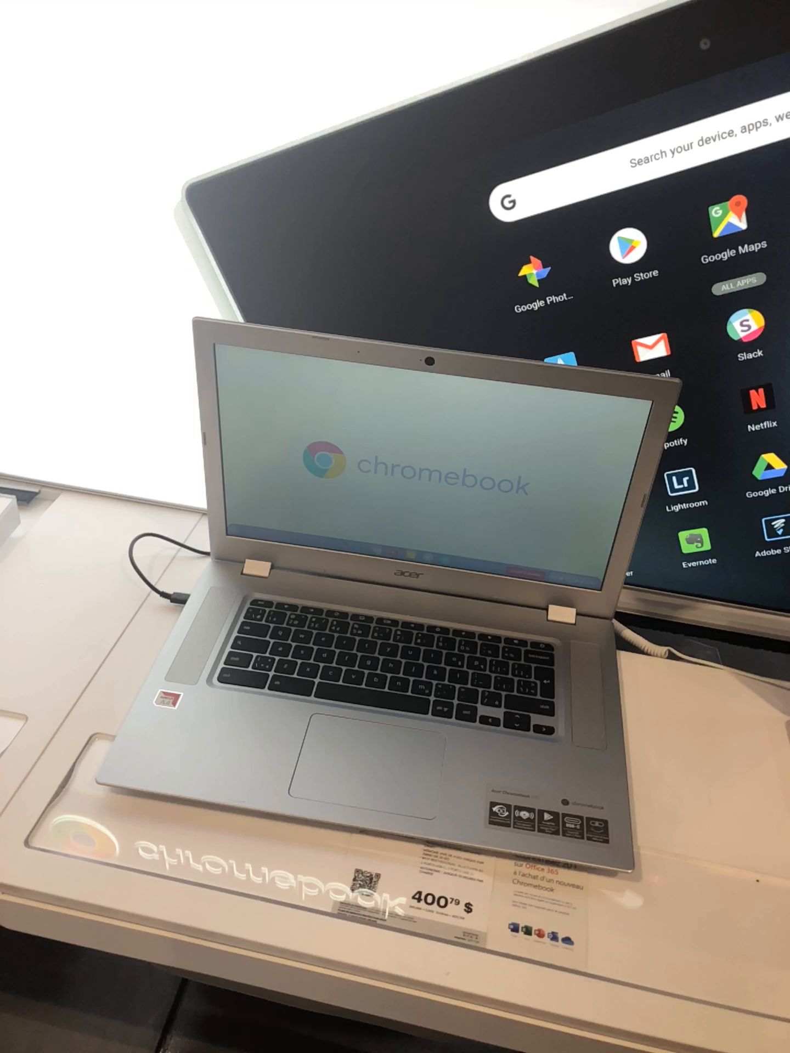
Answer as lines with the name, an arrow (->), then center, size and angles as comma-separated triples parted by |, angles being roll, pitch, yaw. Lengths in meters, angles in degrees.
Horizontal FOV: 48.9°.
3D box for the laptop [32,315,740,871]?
laptop -> 0.000, 0.033, 0.638 | 0.377, 0.250, 0.265 | 8, 36, 5
